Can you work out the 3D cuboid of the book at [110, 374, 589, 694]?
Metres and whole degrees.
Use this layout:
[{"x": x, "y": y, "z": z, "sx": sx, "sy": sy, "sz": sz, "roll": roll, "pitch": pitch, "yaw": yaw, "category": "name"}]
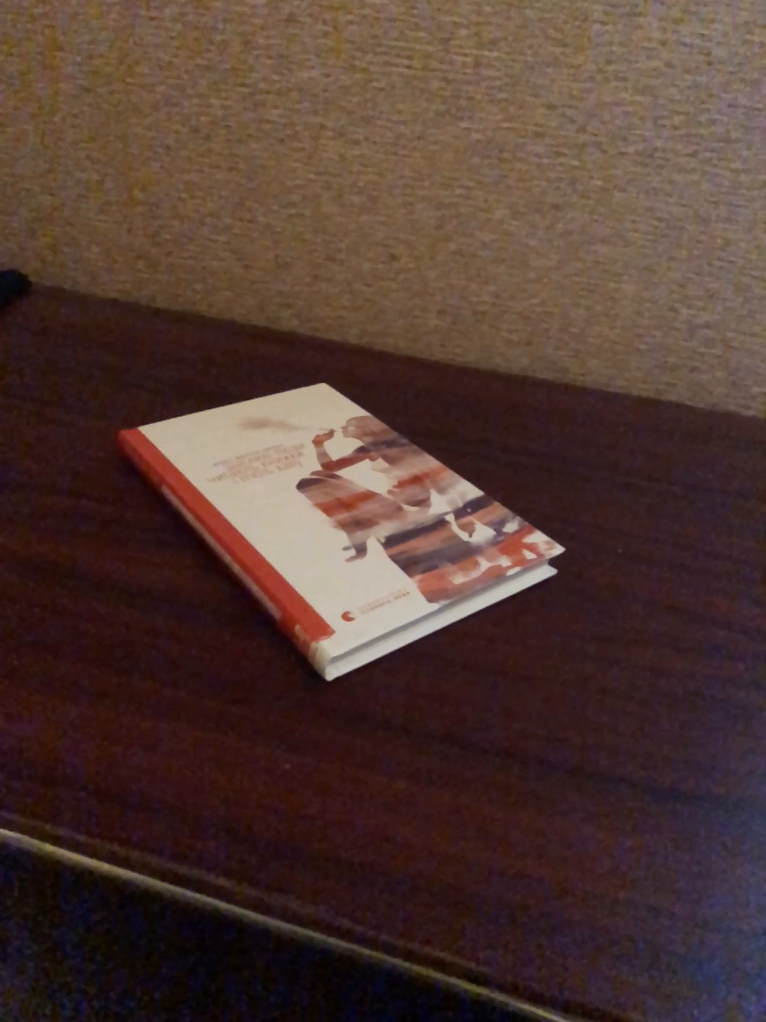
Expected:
[{"x": -0.028, "y": -0.008, "z": 0.452, "sx": 0.151, "sy": 0.020, "sz": 0.228, "roll": -19, "pitch": 40, "yaw": -33, "category": "book"}]
